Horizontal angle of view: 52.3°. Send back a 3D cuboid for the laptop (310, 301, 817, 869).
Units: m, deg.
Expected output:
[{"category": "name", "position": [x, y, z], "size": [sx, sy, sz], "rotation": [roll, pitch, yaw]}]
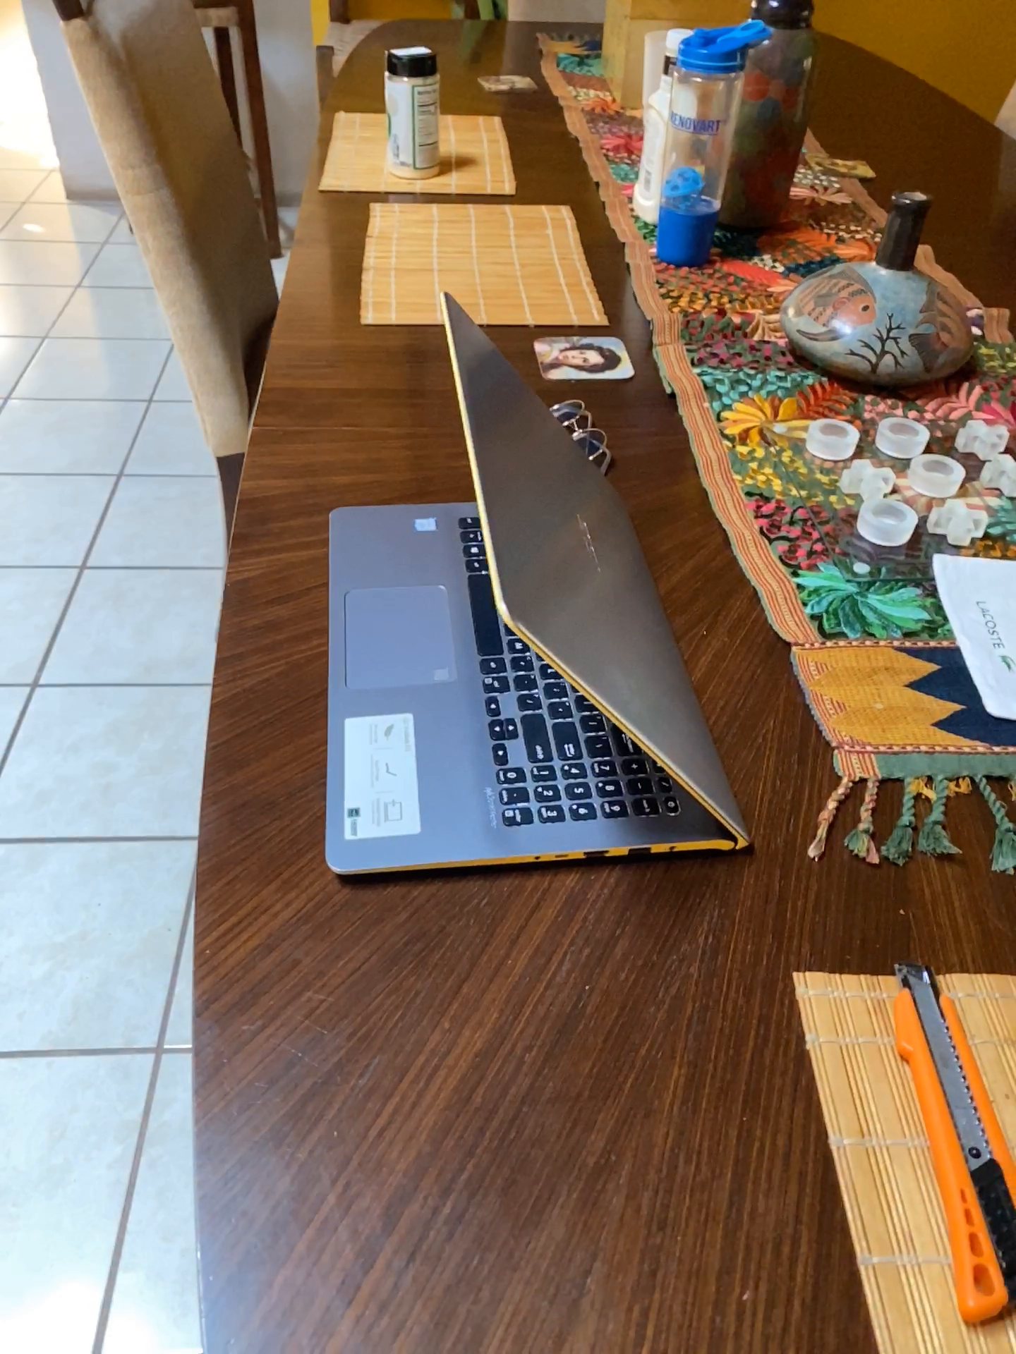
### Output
[{"category": "laptop", "position": [0.001, -0.088, 0.700], "size": [0.250, 0.181, 0.378], "rotation": [-3, 43, -7]}]
